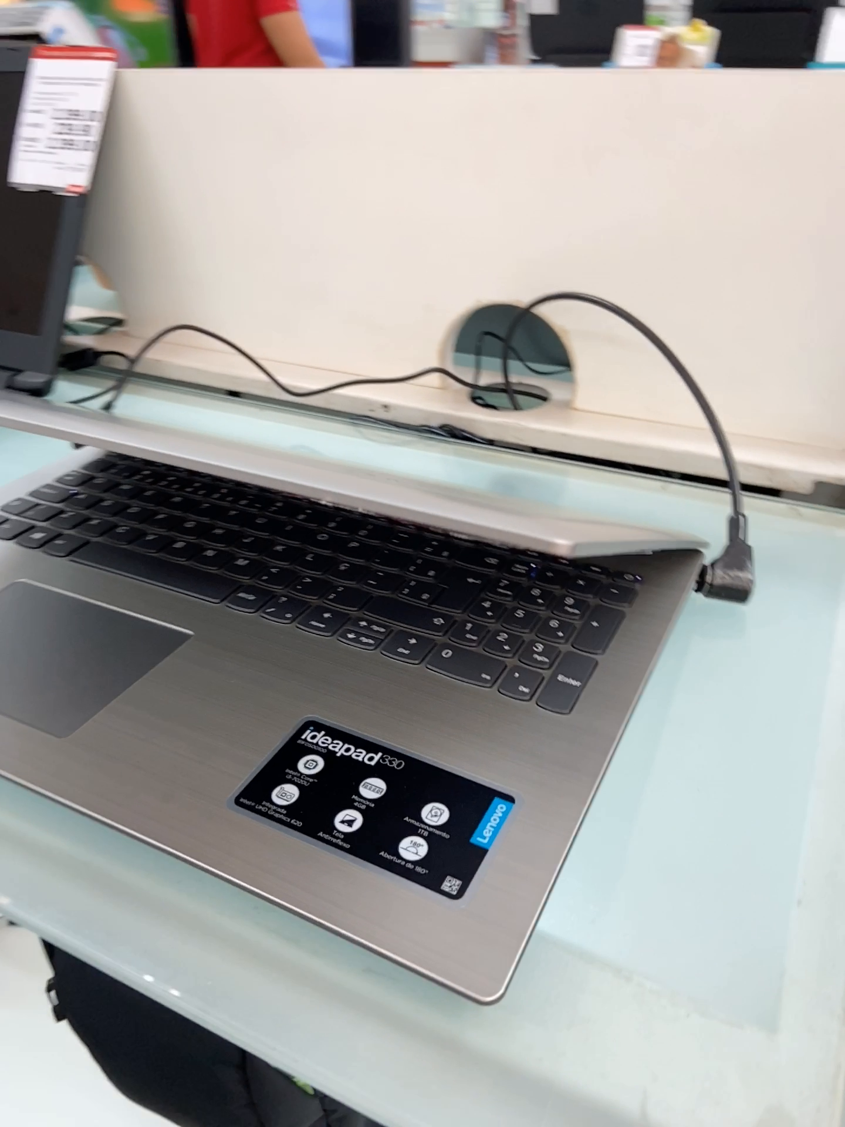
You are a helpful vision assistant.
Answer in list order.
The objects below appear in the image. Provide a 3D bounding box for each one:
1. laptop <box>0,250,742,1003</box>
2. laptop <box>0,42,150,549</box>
[{"bbox_3d":[-0.090,-0.035,0.366,0.369,0.114,0.247,13,35,25],"label":"laptop"},{"bbox_3d":[-0.480,-0.242,0.626,0.355,0.211,0.402,13,34,20],"label":"laptop"}]
